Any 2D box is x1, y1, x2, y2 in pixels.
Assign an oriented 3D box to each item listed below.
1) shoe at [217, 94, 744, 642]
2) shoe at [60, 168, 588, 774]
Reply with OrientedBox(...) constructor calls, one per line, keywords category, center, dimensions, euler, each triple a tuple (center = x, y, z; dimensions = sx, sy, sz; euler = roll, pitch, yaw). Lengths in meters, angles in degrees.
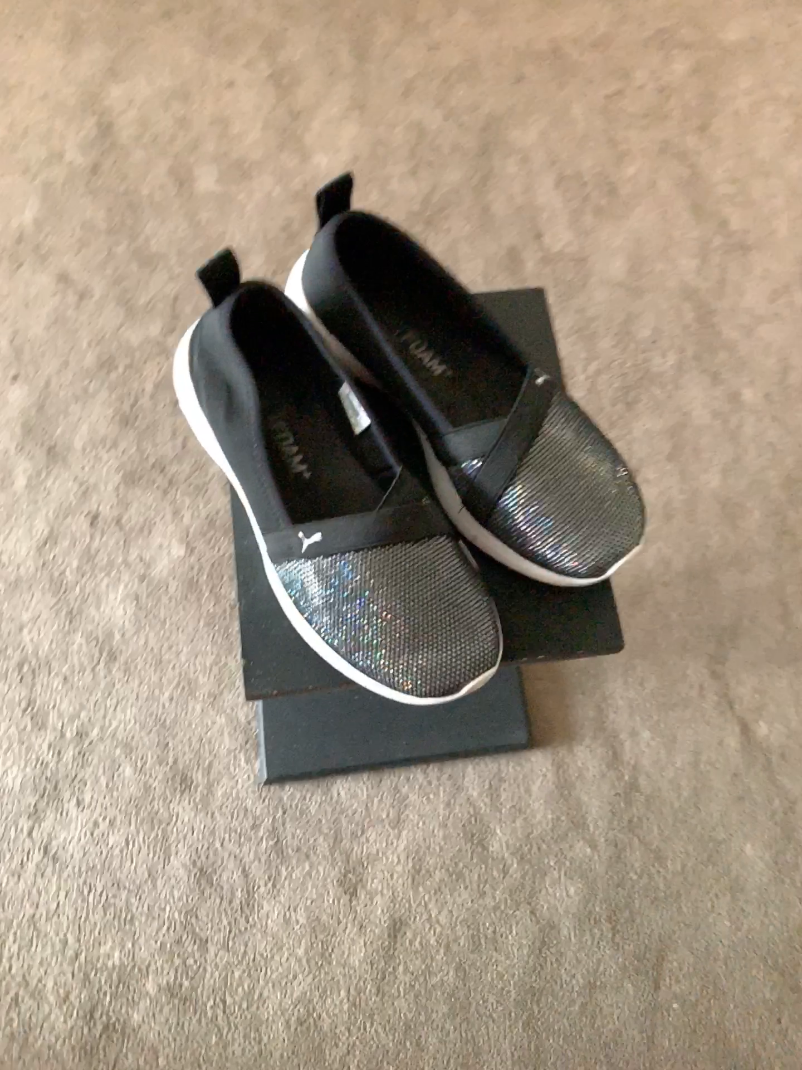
OrientedBox(category="shoe", center=(0.028, -0.085, 0.424), dimensions=(0.100, 0.100, 0.256), euler=(-37, 76, -15))
OrientedBox(category="shoe", center=(-0.042, -0.030, 0.394), dimensions=(0.100, 0.100, 0.261), euler=(-31, 75, -13))
